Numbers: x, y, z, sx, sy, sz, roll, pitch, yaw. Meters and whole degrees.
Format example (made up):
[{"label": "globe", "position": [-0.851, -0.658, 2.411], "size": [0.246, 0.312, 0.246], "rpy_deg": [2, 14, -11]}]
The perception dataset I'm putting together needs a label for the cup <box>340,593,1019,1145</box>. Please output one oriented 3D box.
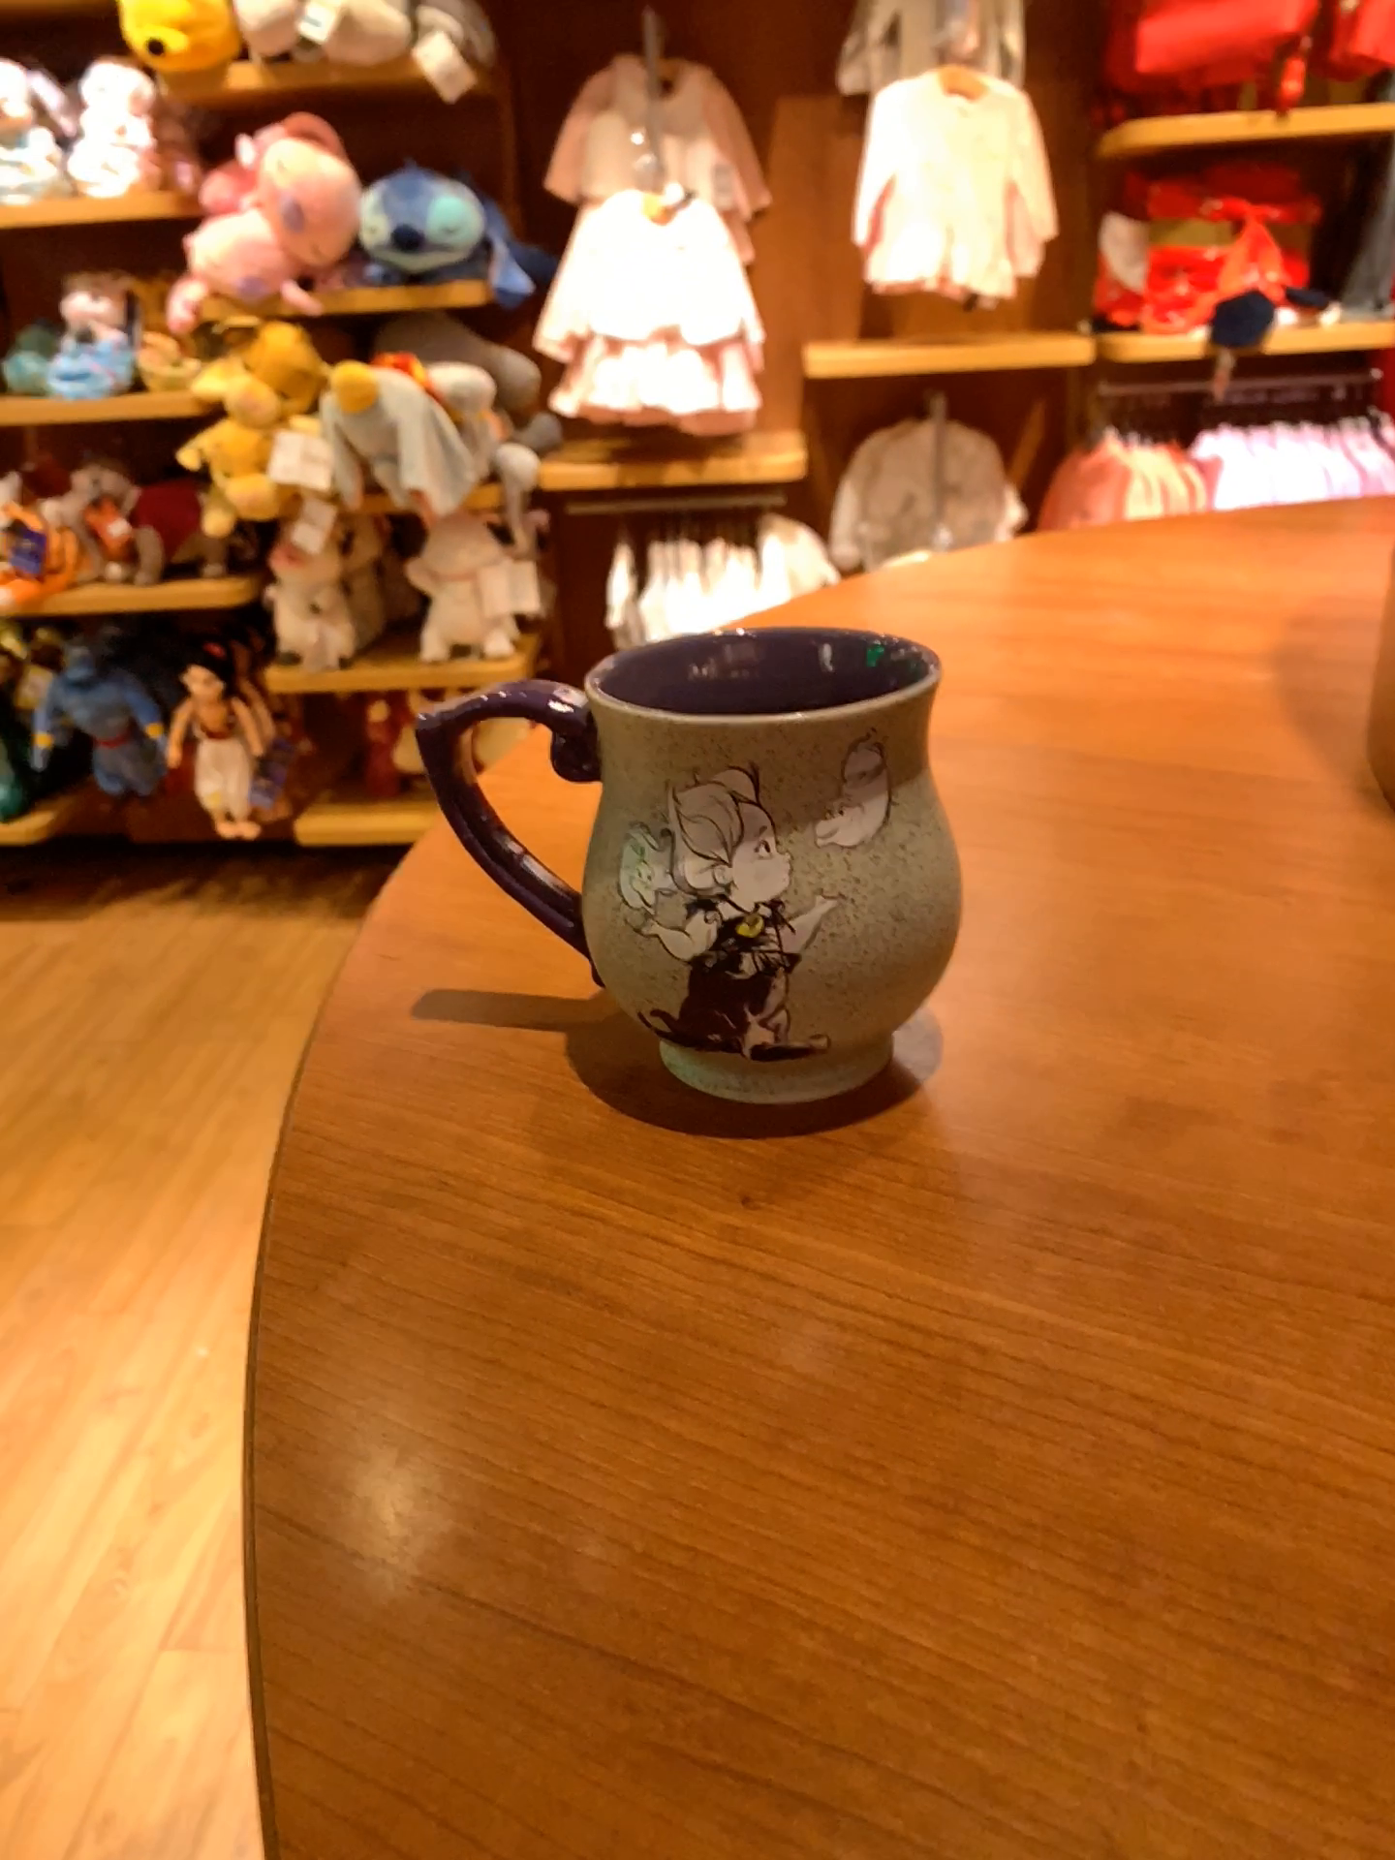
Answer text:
[{"label": "cup", "position": [0.003, -0.027, 0.388], "size": [0.140, 0.099, 0.115], "rpy_deg": [7, 26, 21]}]
